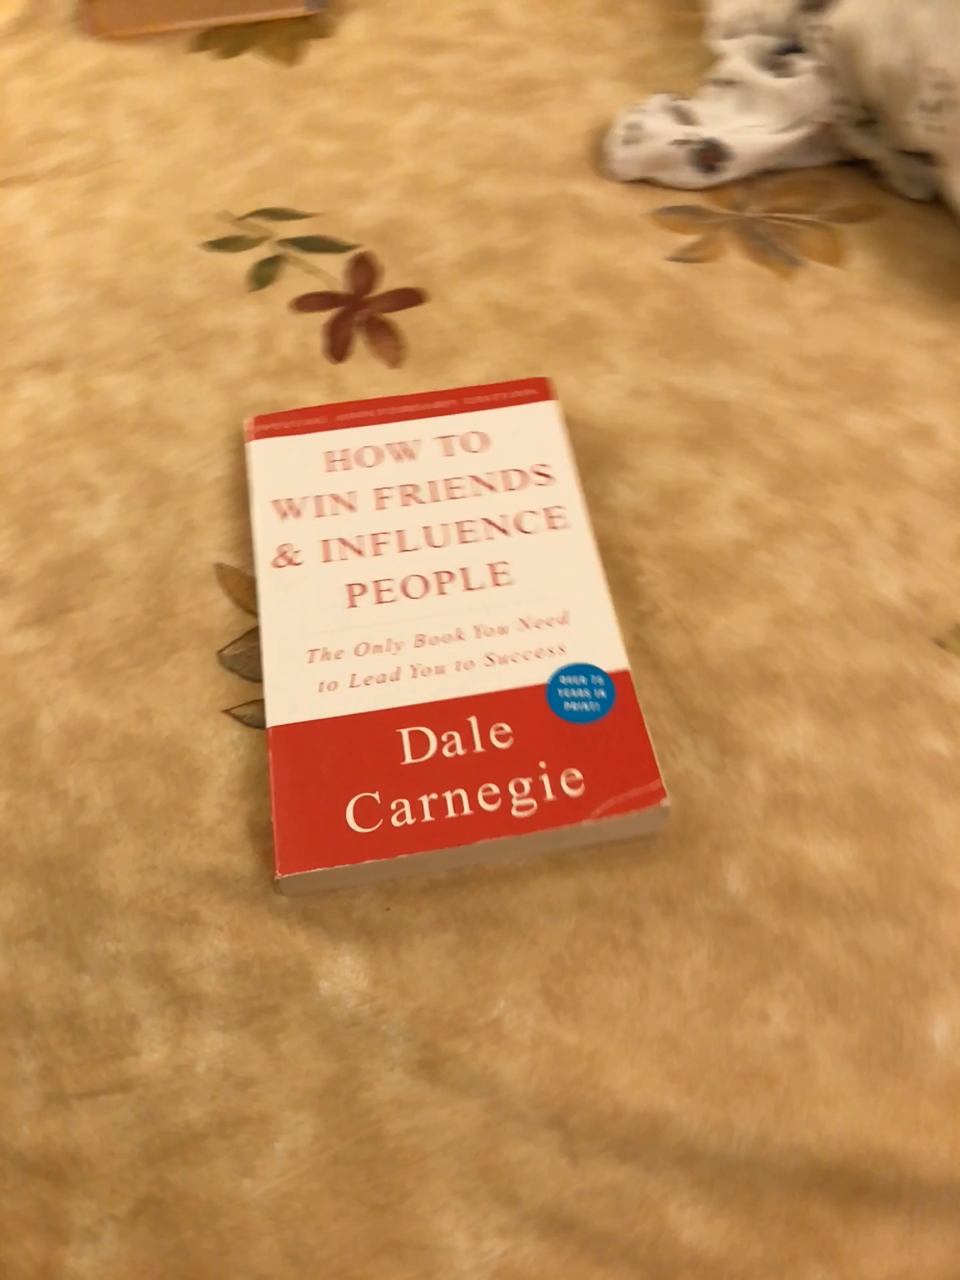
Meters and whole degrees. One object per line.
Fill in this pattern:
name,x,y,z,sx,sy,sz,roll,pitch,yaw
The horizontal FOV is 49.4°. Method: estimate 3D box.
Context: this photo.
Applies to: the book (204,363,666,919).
book,-0.029,-0.014,0.415,0.150,0.020,0.221,-10,59,-3
